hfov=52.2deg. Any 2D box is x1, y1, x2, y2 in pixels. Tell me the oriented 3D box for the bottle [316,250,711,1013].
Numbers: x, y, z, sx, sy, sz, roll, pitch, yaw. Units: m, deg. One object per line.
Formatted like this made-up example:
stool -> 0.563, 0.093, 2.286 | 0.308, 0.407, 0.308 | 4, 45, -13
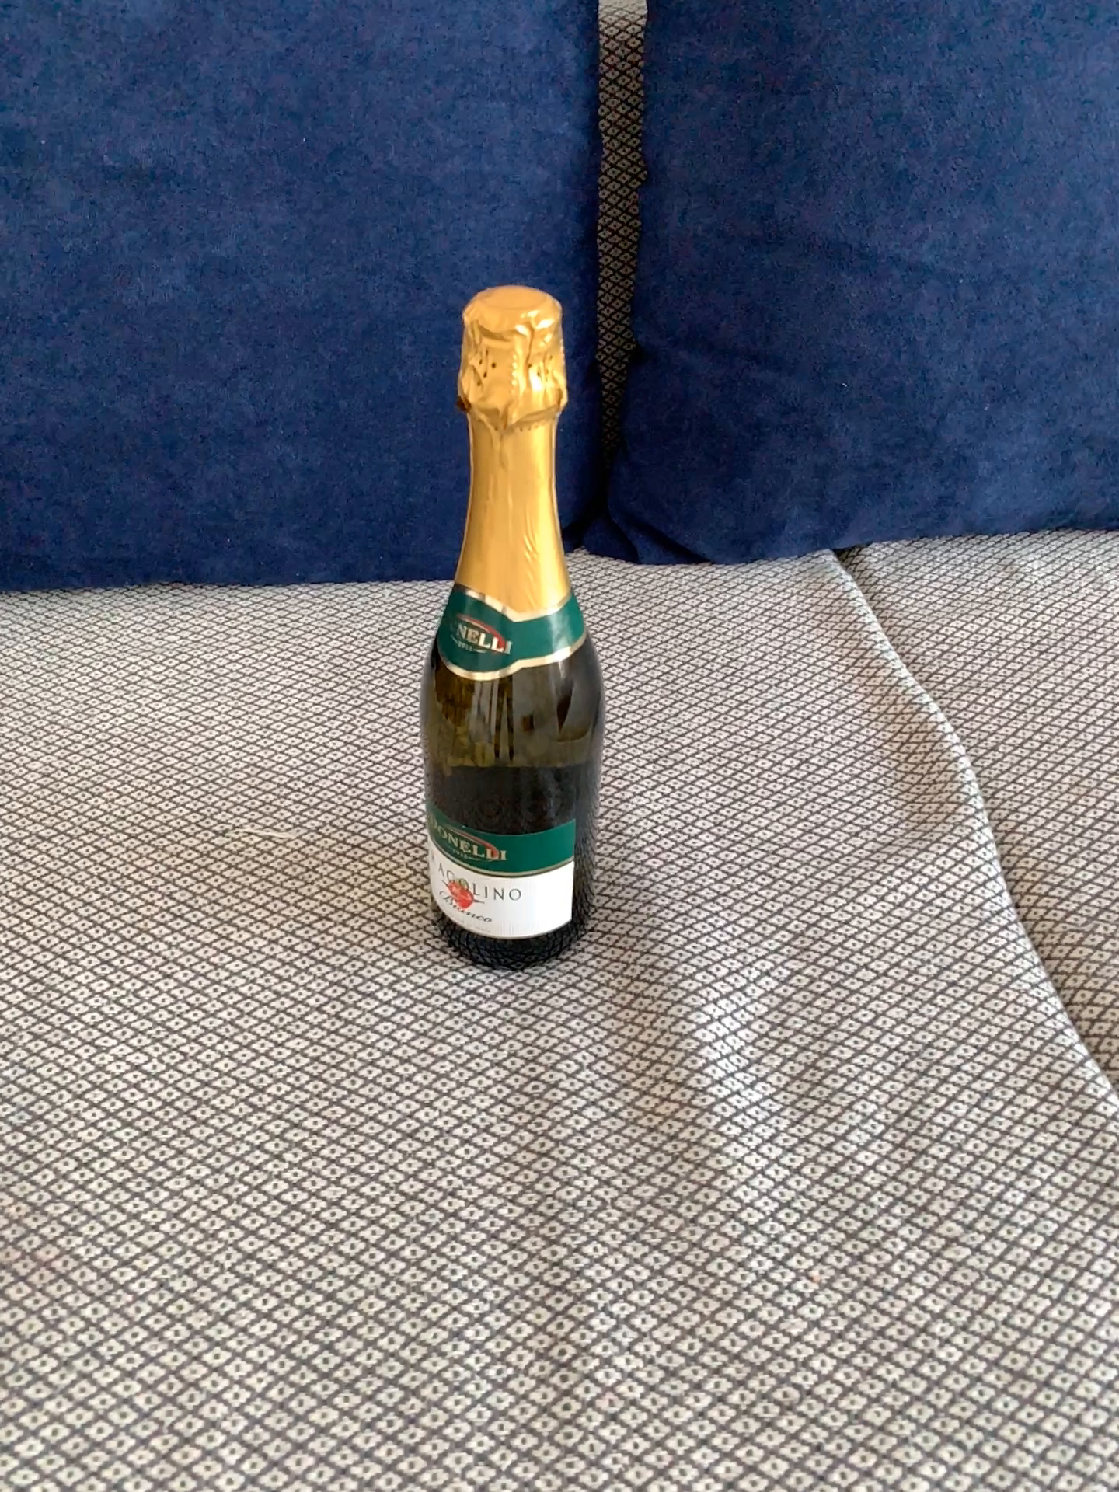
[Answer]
bottle -> -0.012, -0.030, 0.463 | 0.090, 0.289, 0.090 | 0, 42, 0
